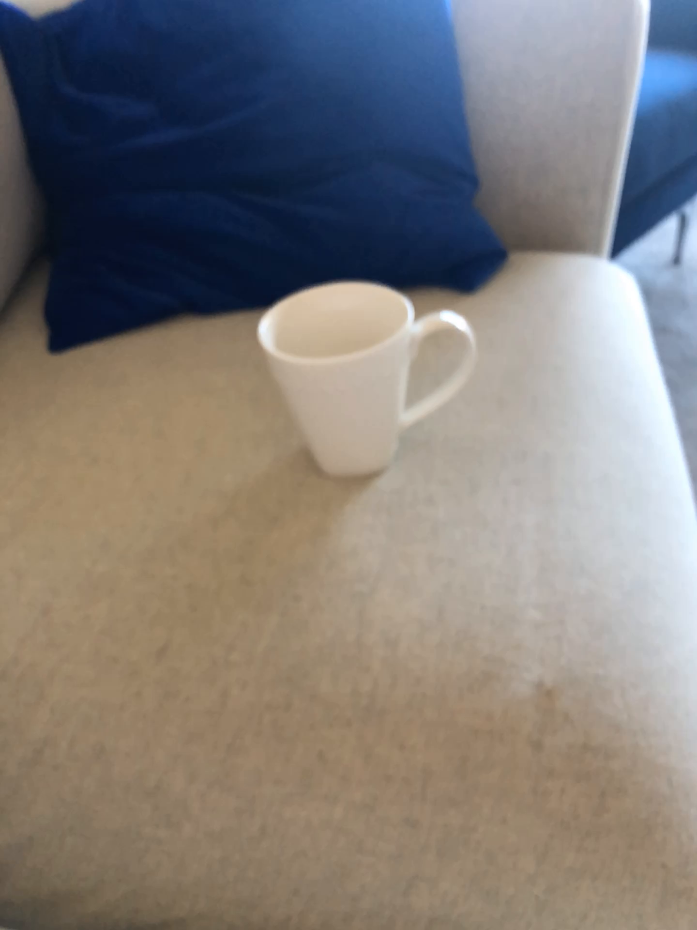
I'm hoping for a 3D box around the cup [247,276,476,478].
[{"bbox_3d":[0.012,-0.059,0.513,0.130,0.090,0.100,1,38,5],"label":"cup"}]
